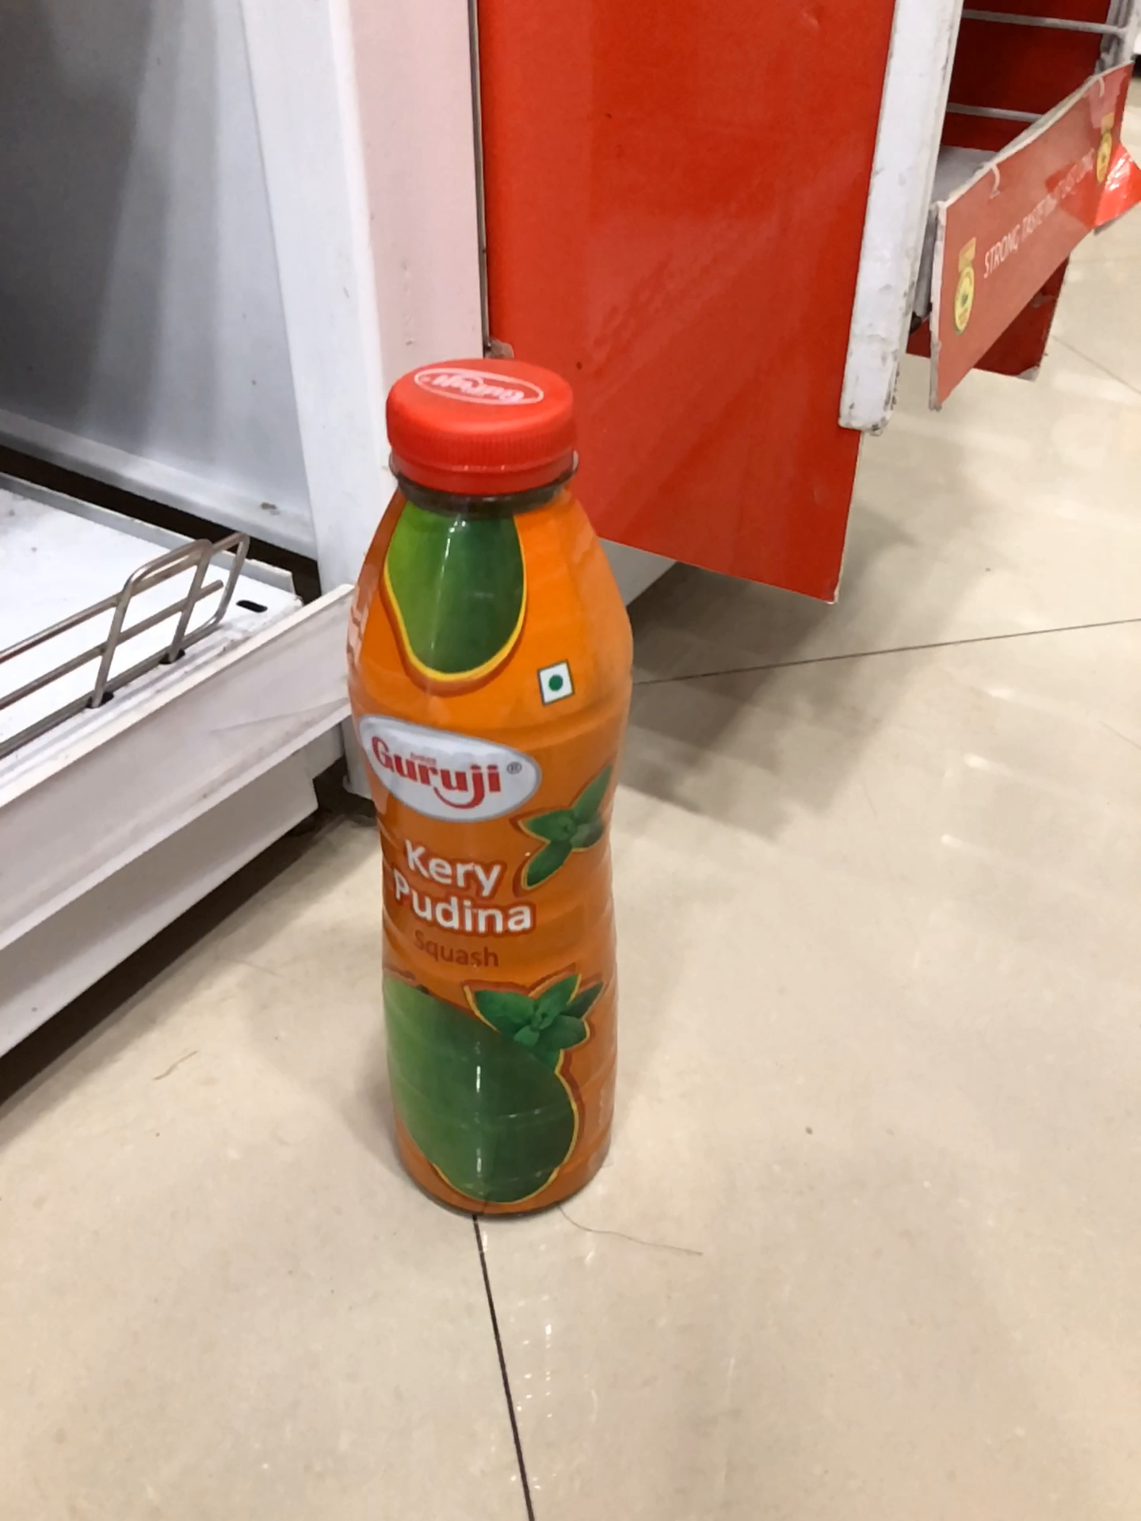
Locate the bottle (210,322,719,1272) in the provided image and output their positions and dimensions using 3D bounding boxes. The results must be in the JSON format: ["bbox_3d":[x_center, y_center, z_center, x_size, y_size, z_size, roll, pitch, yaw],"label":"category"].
[{"bbox_3d":[-0.018,0.022,0.332,0.080,0.238,0.081,0,37,0],"label":"bottle"}]
